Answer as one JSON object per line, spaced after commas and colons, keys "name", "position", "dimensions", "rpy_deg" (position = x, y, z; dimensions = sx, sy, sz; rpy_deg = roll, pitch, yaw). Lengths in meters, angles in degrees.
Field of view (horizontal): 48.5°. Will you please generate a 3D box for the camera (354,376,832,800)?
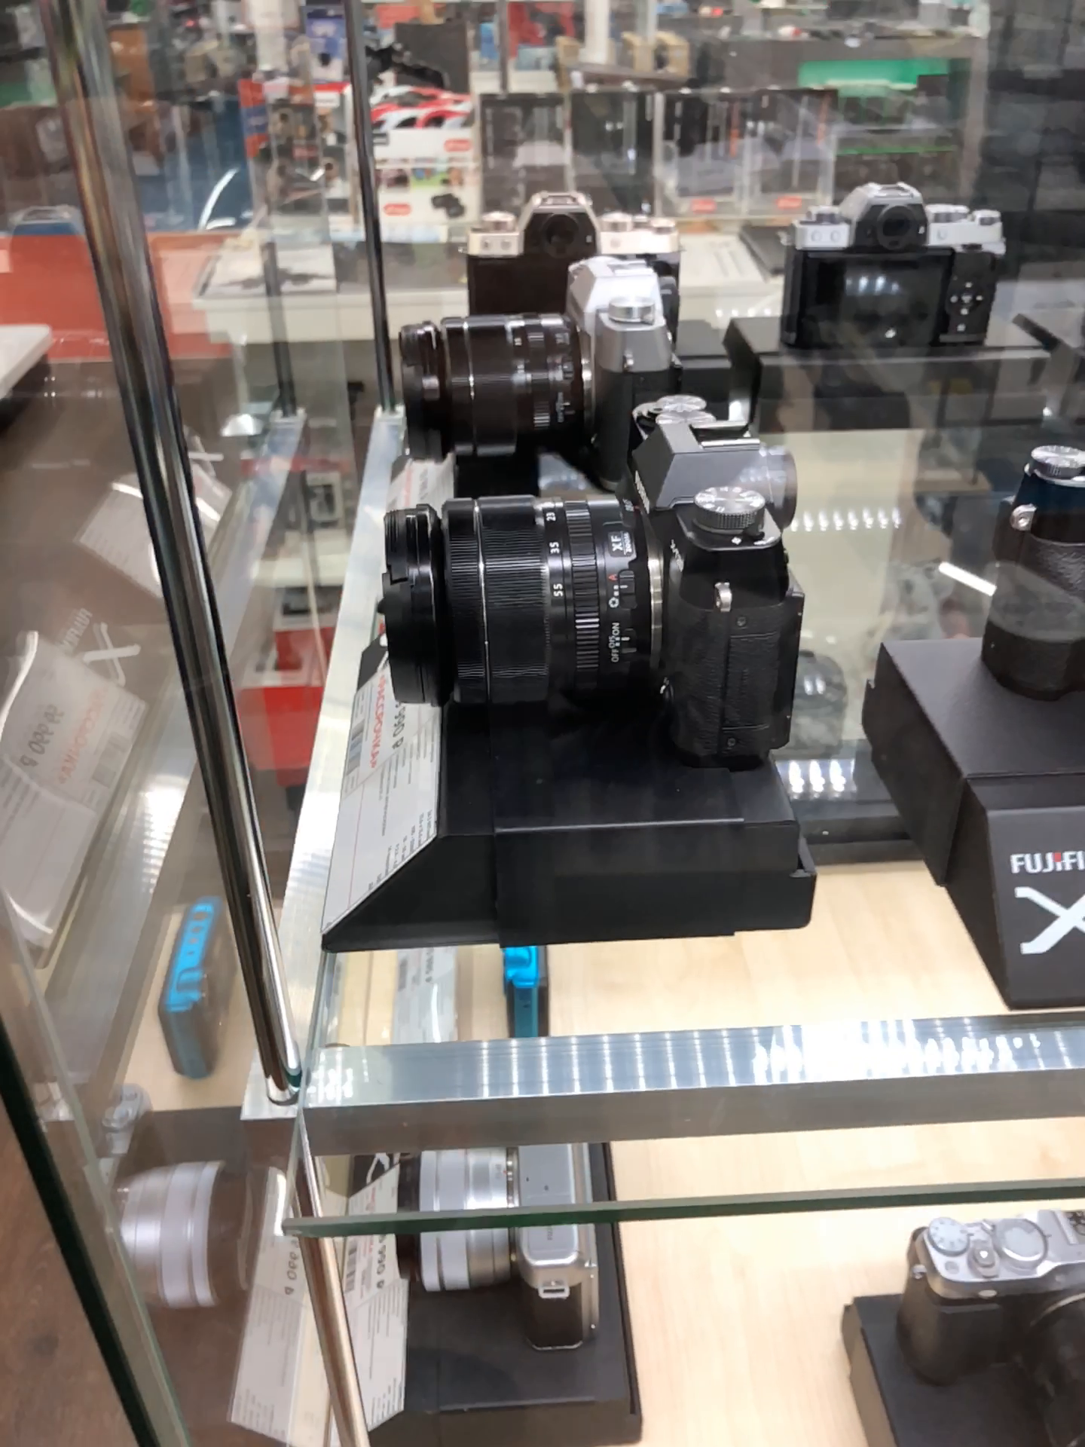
{"name": "camera", "position": [0.010, -0.048, 0.376], "dimensions": [0.121, 0.081, 0.121], "rpy_deg": [-3, 33, -3]}
